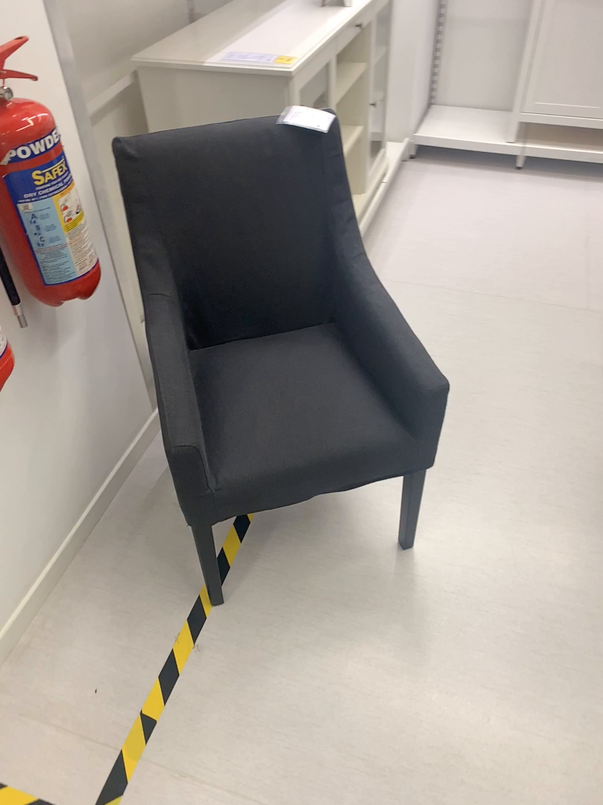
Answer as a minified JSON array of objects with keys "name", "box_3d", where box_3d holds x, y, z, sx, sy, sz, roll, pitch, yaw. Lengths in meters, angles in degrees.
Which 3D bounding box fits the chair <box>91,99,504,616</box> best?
[{"name":"chair","box_3d":[-0.050,-0.092,1.446,0.610,0.916,0.632,-13,44,-11]}]
